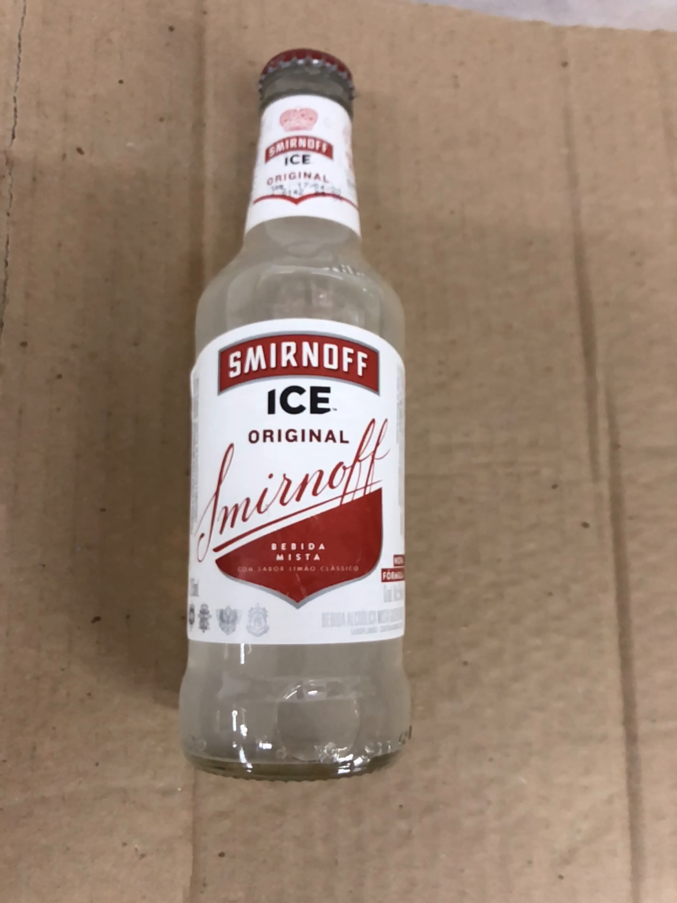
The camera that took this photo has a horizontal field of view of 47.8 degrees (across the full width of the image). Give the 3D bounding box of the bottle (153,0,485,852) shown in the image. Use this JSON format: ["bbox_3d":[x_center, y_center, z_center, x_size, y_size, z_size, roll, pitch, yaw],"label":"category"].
[{"bbox_3d":[-0.008,-0.021,0.199,0.070,0.050,0.210,2,81,-14],"label":"bottle"}]
